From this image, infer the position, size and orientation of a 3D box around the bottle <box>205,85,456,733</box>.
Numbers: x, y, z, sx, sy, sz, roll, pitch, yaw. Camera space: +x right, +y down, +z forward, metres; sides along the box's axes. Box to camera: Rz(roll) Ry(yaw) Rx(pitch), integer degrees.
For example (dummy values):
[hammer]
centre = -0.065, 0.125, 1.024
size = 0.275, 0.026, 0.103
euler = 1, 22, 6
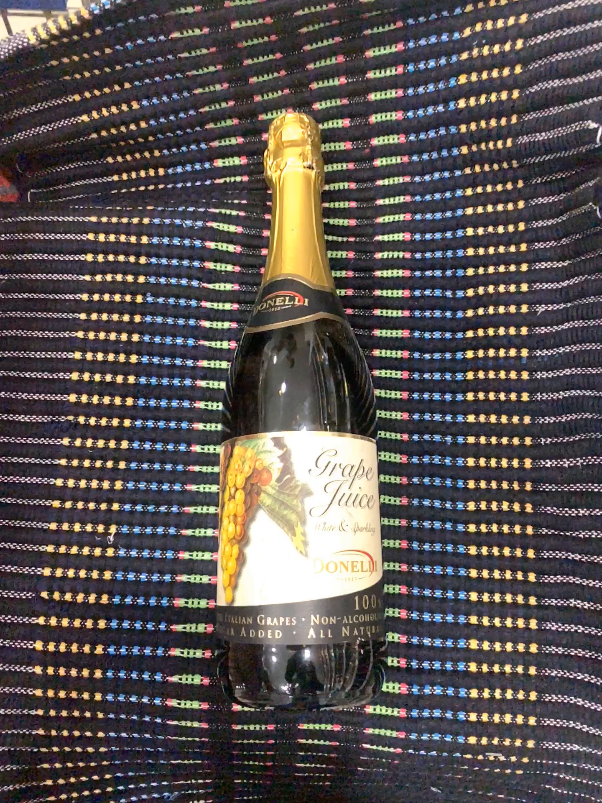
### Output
[bottle]
centre = 0.004, -0.010, 0.311
size = 0.090, 0.080, 0.300
euler = 0, 69, -5
